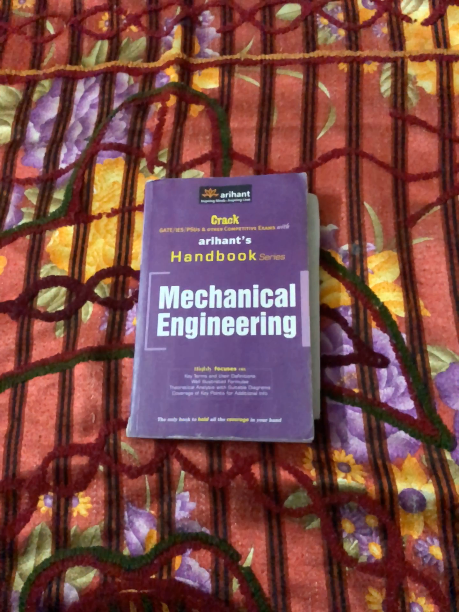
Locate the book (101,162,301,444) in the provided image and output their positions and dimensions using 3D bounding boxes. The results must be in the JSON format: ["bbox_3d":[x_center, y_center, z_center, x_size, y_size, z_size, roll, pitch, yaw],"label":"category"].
[{"bbox_3d":[-0.019,-0.006,0.428,0.147,0.040,0.231,-1,73,5],"label":"book"}]
